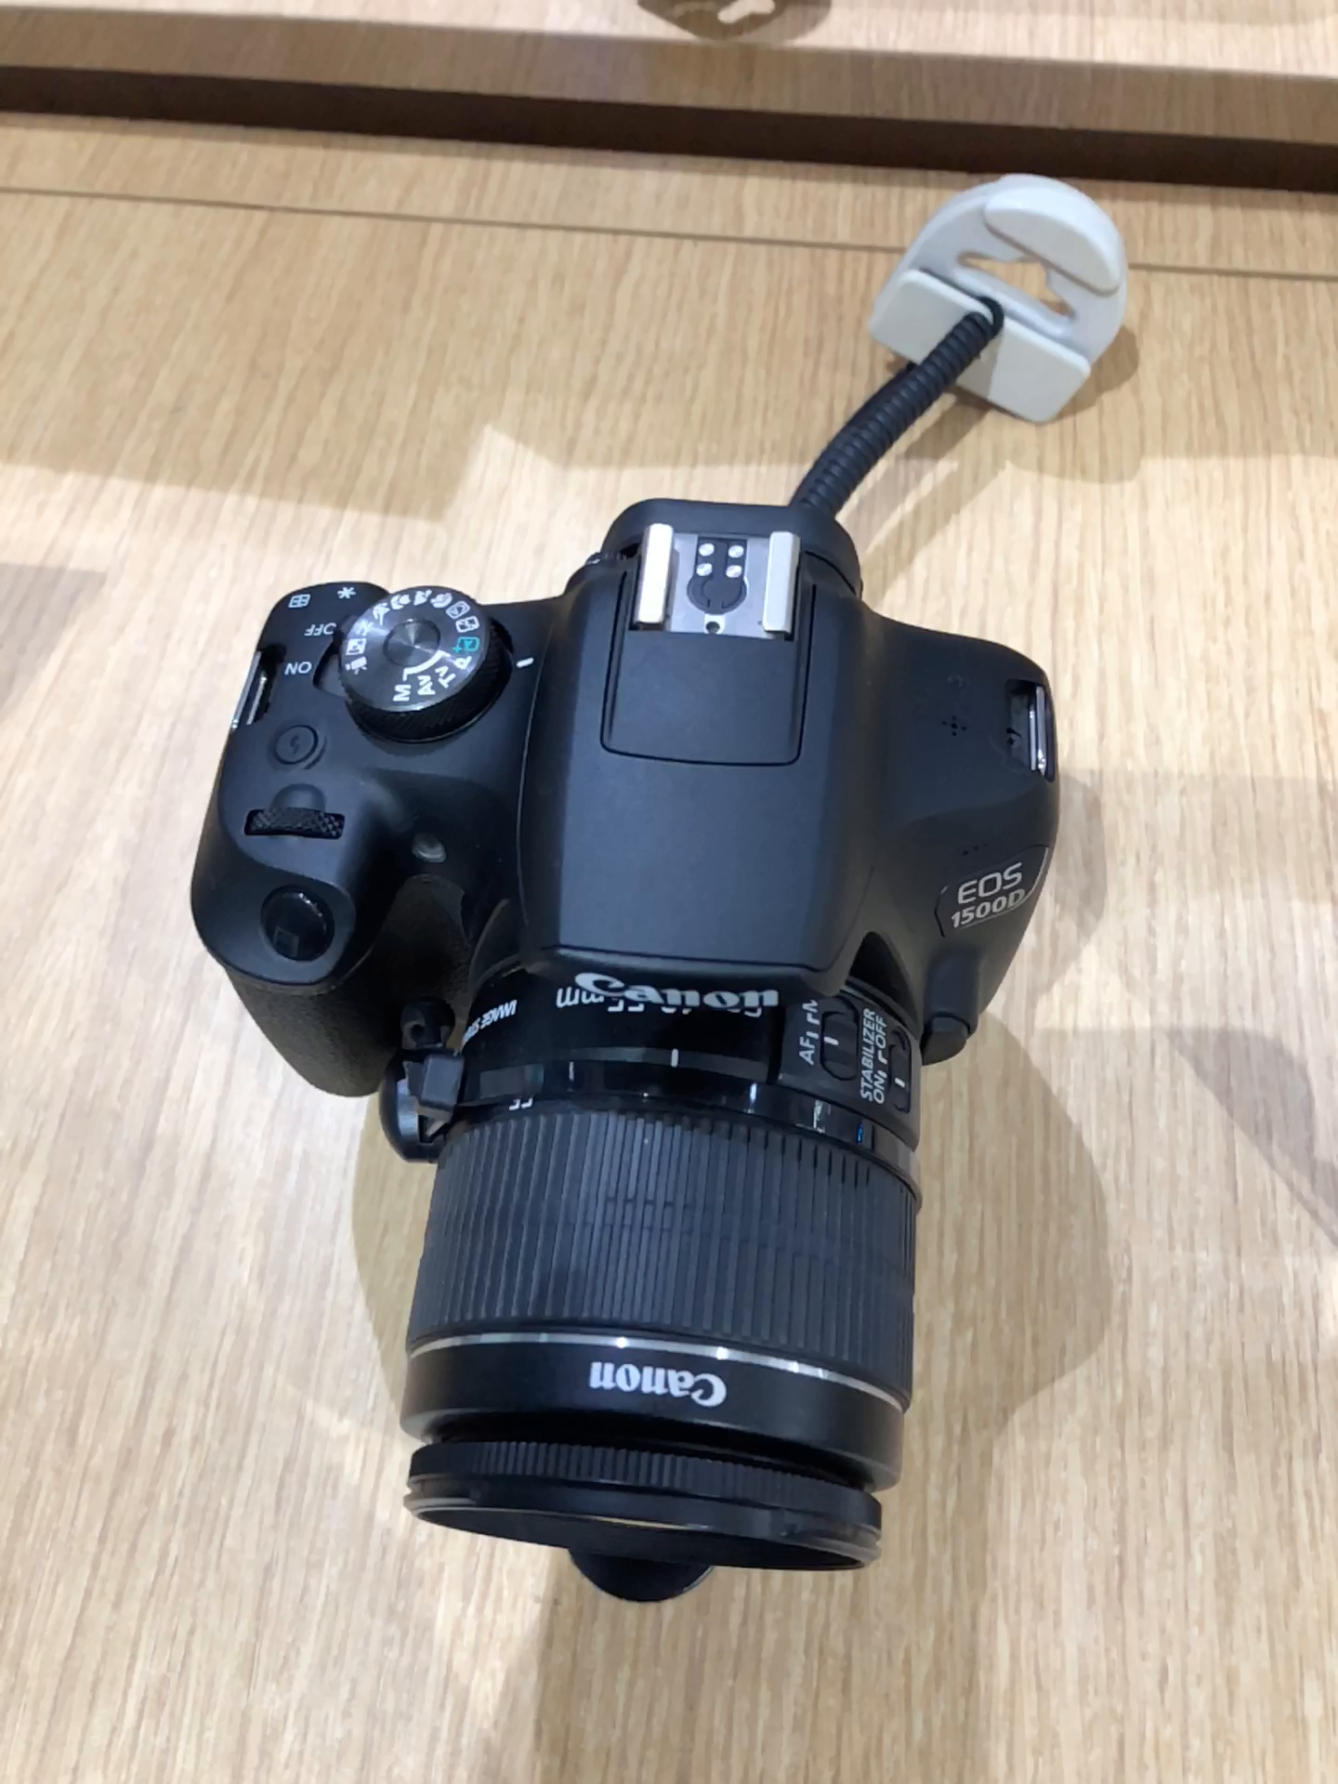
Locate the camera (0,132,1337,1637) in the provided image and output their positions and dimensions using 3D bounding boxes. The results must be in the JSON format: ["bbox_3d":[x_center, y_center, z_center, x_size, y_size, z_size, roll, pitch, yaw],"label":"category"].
[{"bbox_3d":[-0.002,-0.005,0.218,0.140,0.100,0.191,2,60,3],"label":"camera"}]
